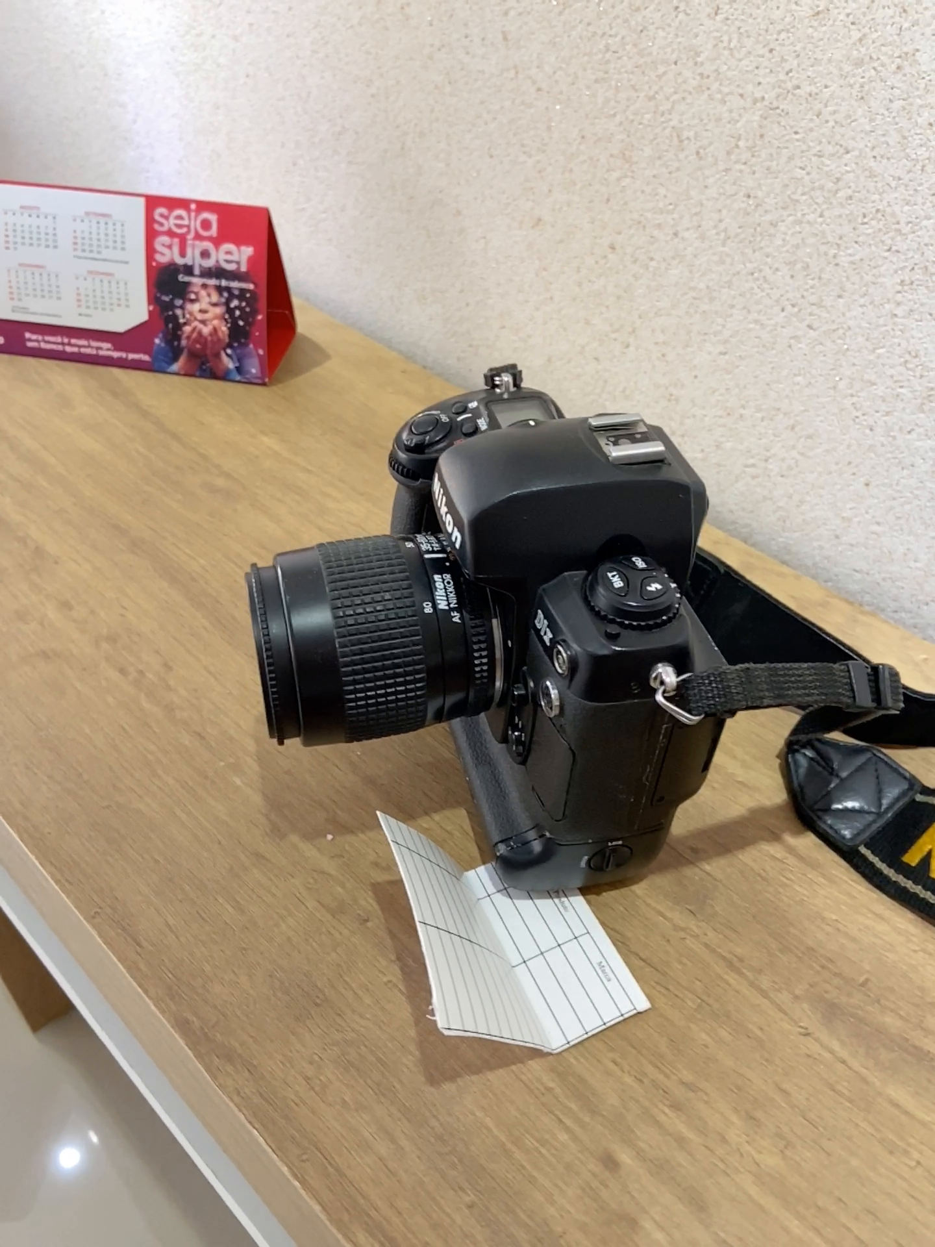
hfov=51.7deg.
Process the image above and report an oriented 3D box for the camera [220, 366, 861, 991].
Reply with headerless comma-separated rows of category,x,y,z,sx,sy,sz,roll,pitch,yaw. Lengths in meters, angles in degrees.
camera,0.010,0.010,0.350,0.160,0.129,0.151,-11,44,-15
